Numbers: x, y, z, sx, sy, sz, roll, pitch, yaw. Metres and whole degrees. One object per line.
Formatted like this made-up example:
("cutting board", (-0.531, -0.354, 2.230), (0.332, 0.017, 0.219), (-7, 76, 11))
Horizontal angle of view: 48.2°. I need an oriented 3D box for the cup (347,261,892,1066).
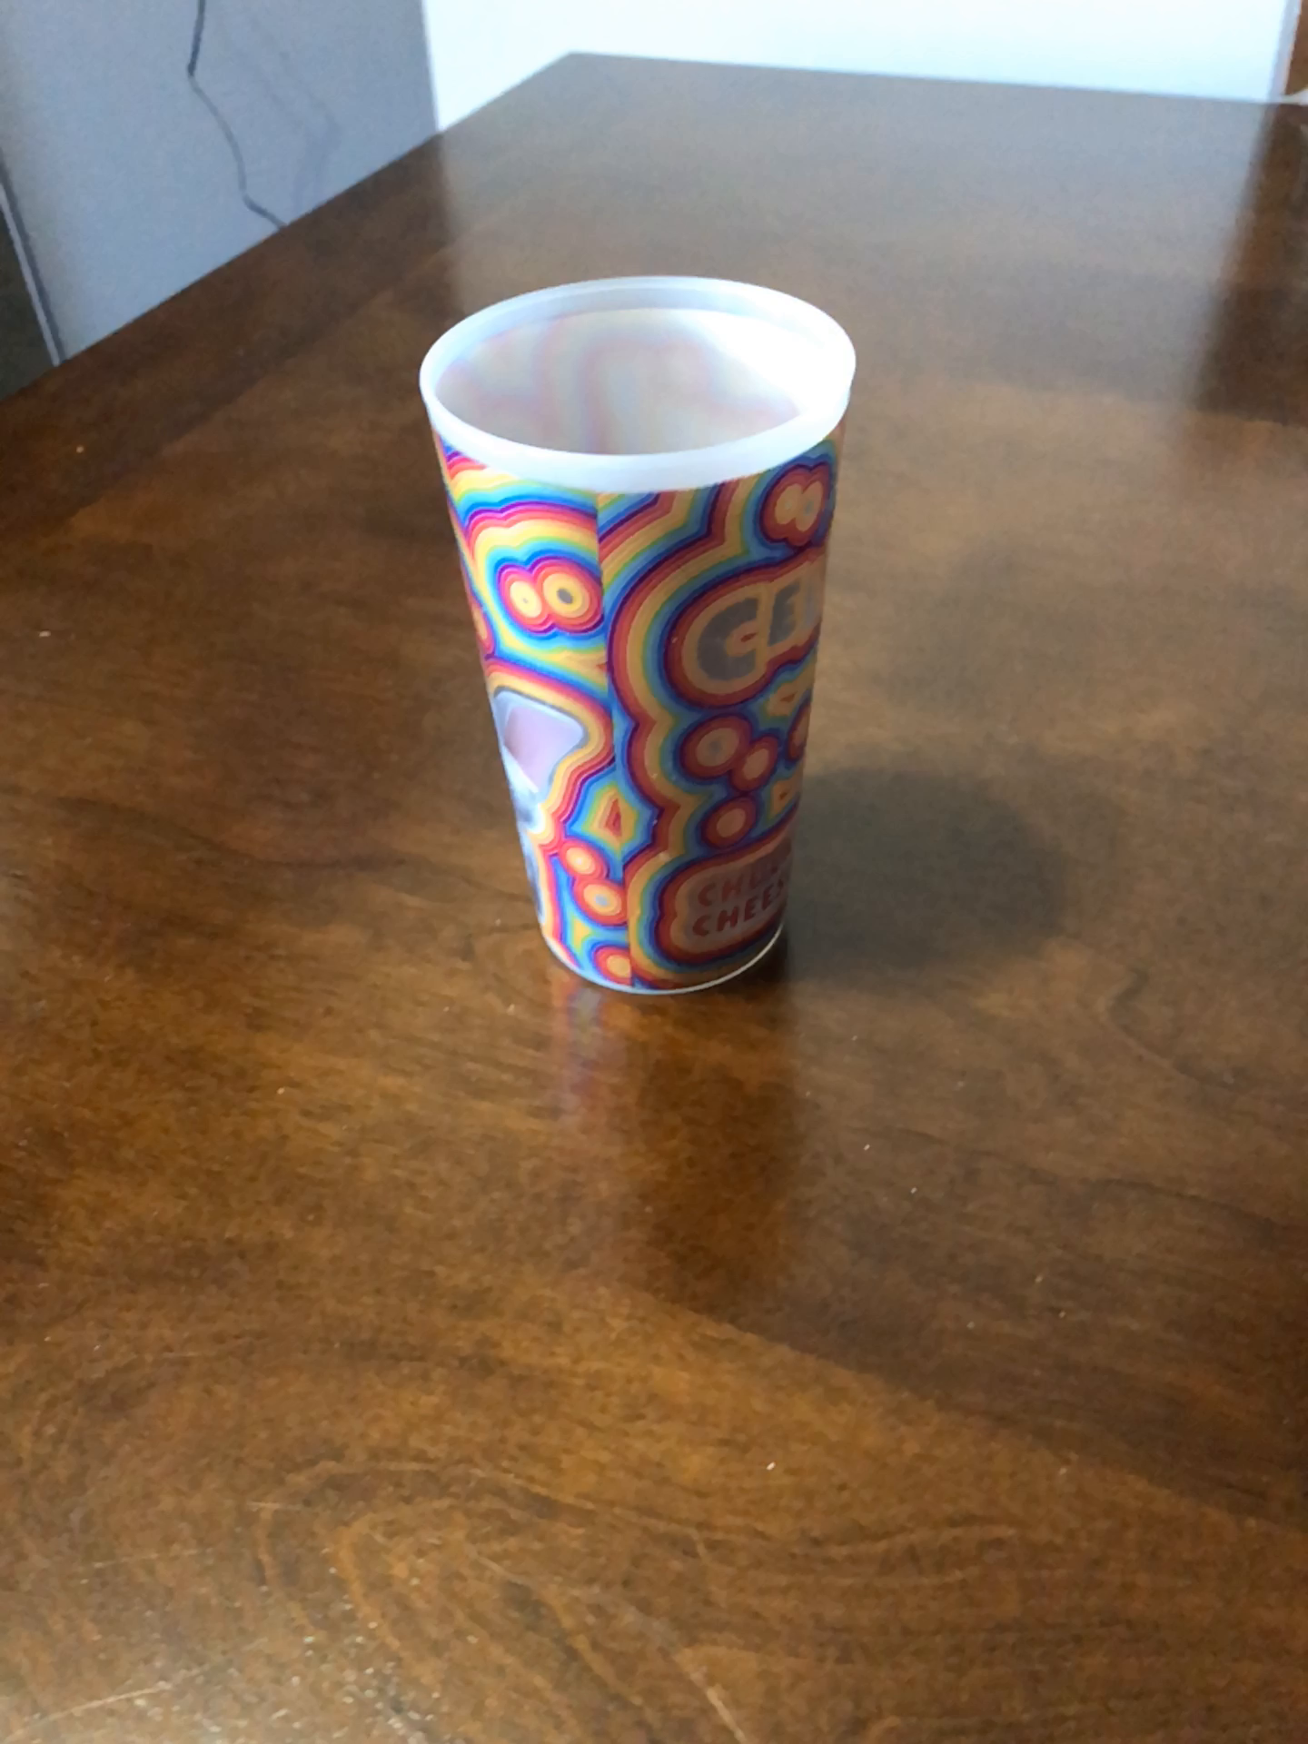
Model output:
("cup", (-0.001, -0.038, 0.288), (0.070, 0.129, 0.070), (-2, 42, 2))
